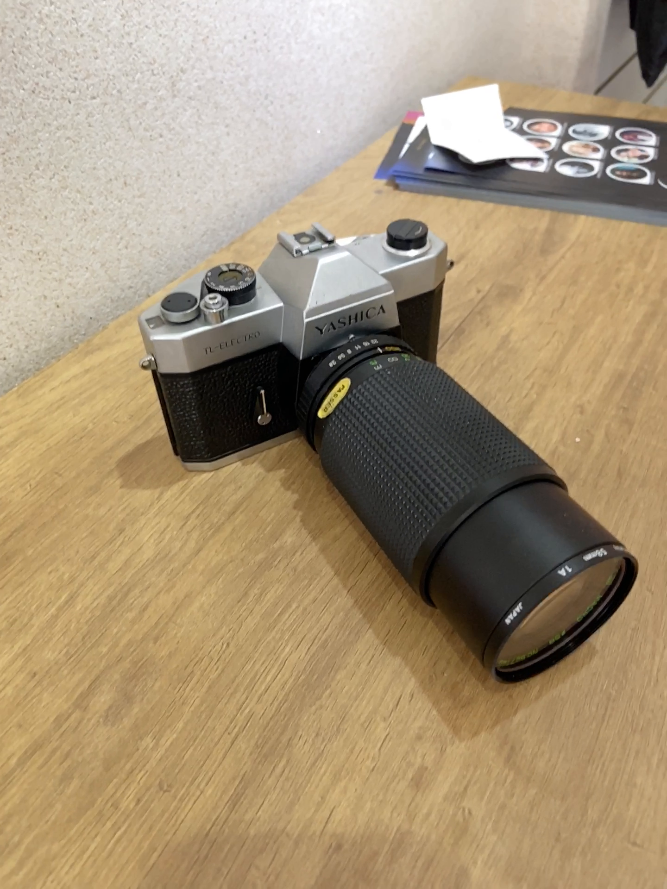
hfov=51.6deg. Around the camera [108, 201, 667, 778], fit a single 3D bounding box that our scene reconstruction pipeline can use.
[{"bbox_3d":[0.012,-0.007,0.283,0.150,0.080,0.201,-19,46,-16],"label":"camera"}]
